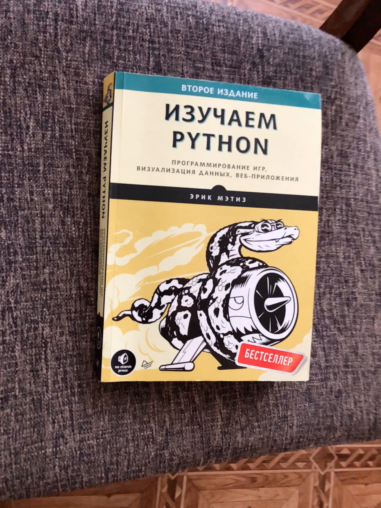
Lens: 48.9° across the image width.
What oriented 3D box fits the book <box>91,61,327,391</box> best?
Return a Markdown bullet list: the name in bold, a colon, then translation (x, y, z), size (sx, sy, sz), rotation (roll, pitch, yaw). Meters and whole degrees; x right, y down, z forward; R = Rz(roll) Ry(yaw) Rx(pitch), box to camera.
- **book**: translation (0.016, -0.017, 0.327), size (0.168, 0.040, 0.233), rotation (3, 86, -9)
